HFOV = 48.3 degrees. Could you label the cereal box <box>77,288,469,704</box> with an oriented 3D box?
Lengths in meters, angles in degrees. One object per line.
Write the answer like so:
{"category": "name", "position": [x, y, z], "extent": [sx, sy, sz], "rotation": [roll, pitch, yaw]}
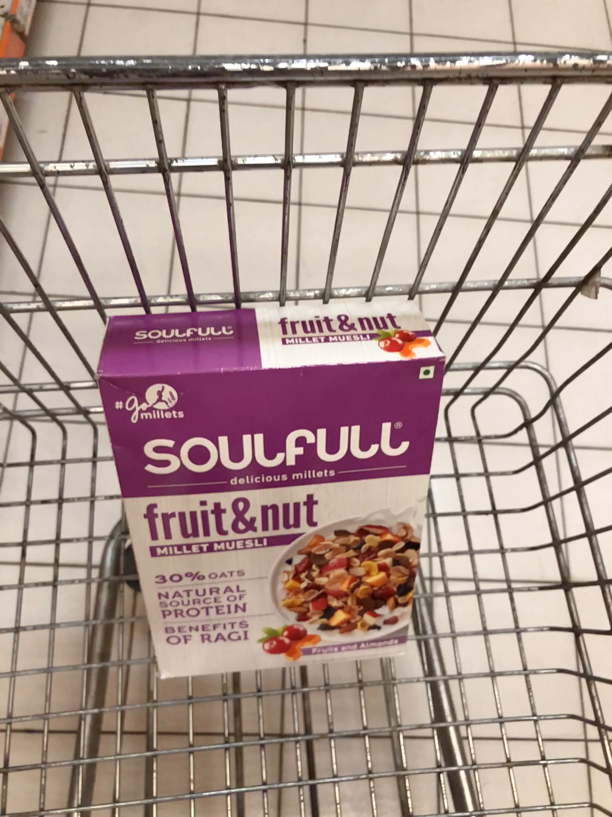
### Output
{"category": "cereal box", "position": [-0.016, 0.060, 0.394], "extent": [0.170, 0.239, 0.070], "rotation": [-4, 36, -6]}
